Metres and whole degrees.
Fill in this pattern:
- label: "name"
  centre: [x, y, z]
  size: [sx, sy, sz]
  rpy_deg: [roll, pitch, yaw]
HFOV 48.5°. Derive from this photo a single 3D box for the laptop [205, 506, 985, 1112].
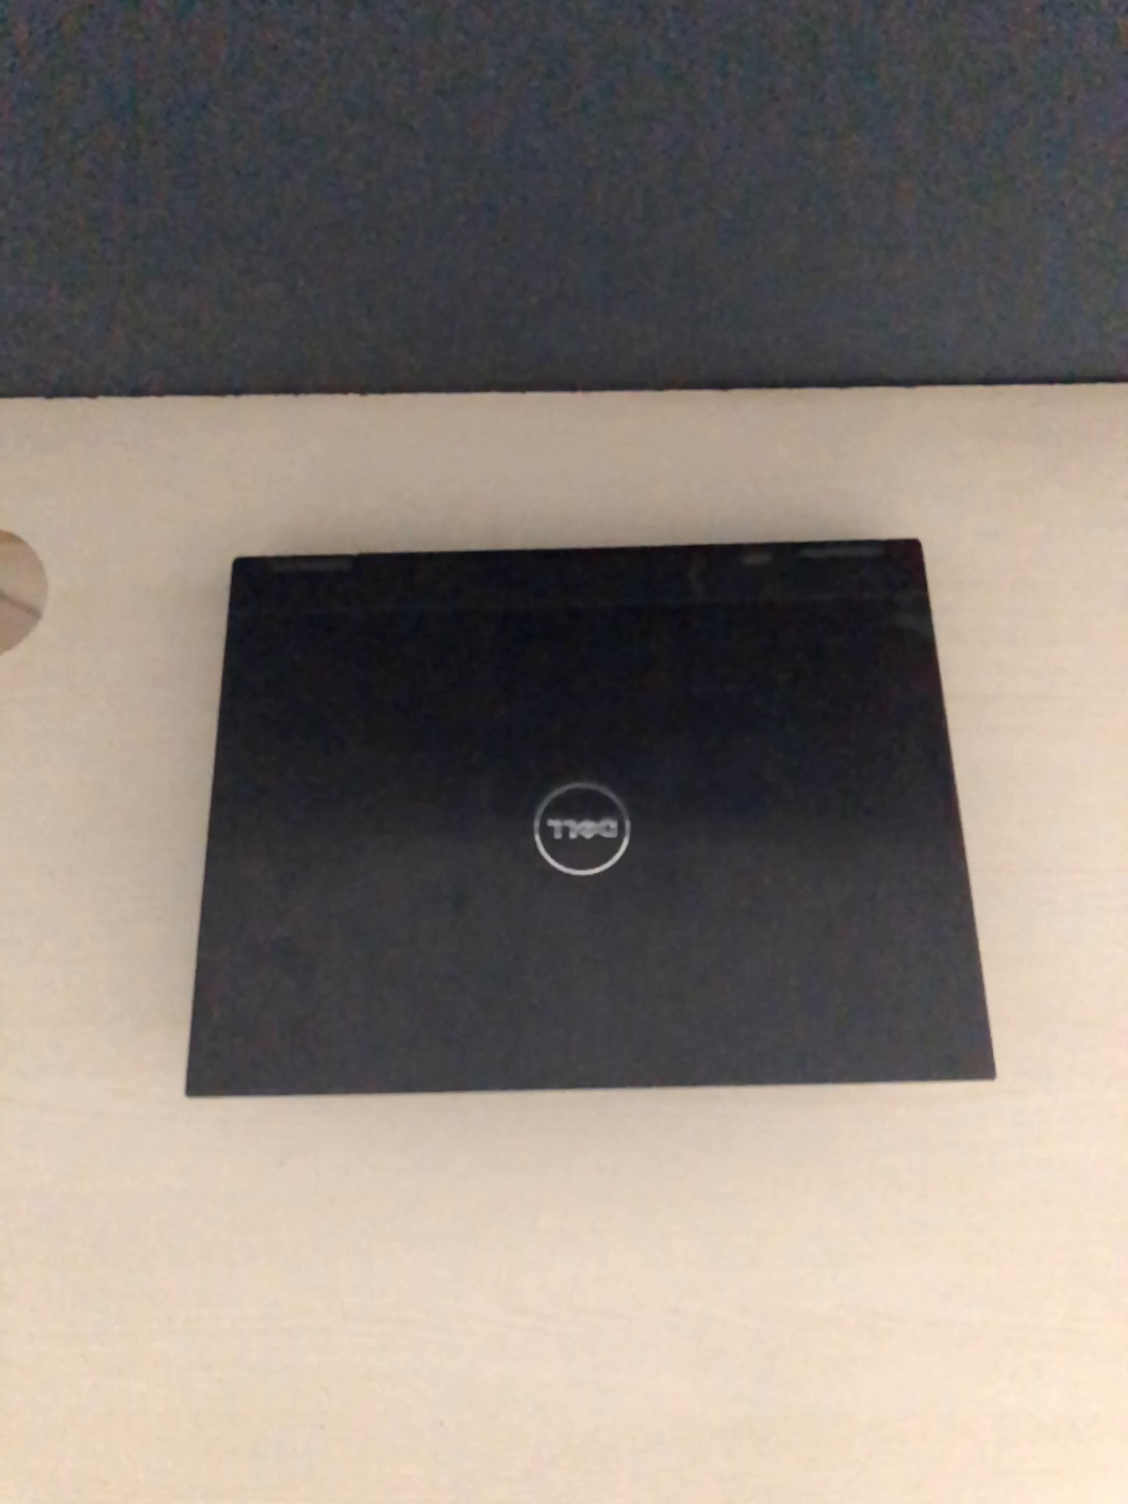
- label: "laptop"
  centre: [0.010, 0.025, 0.526]
  size: [0.302, 0.065, 0.230]
  rpy_deg: [-2, 85, 1]
